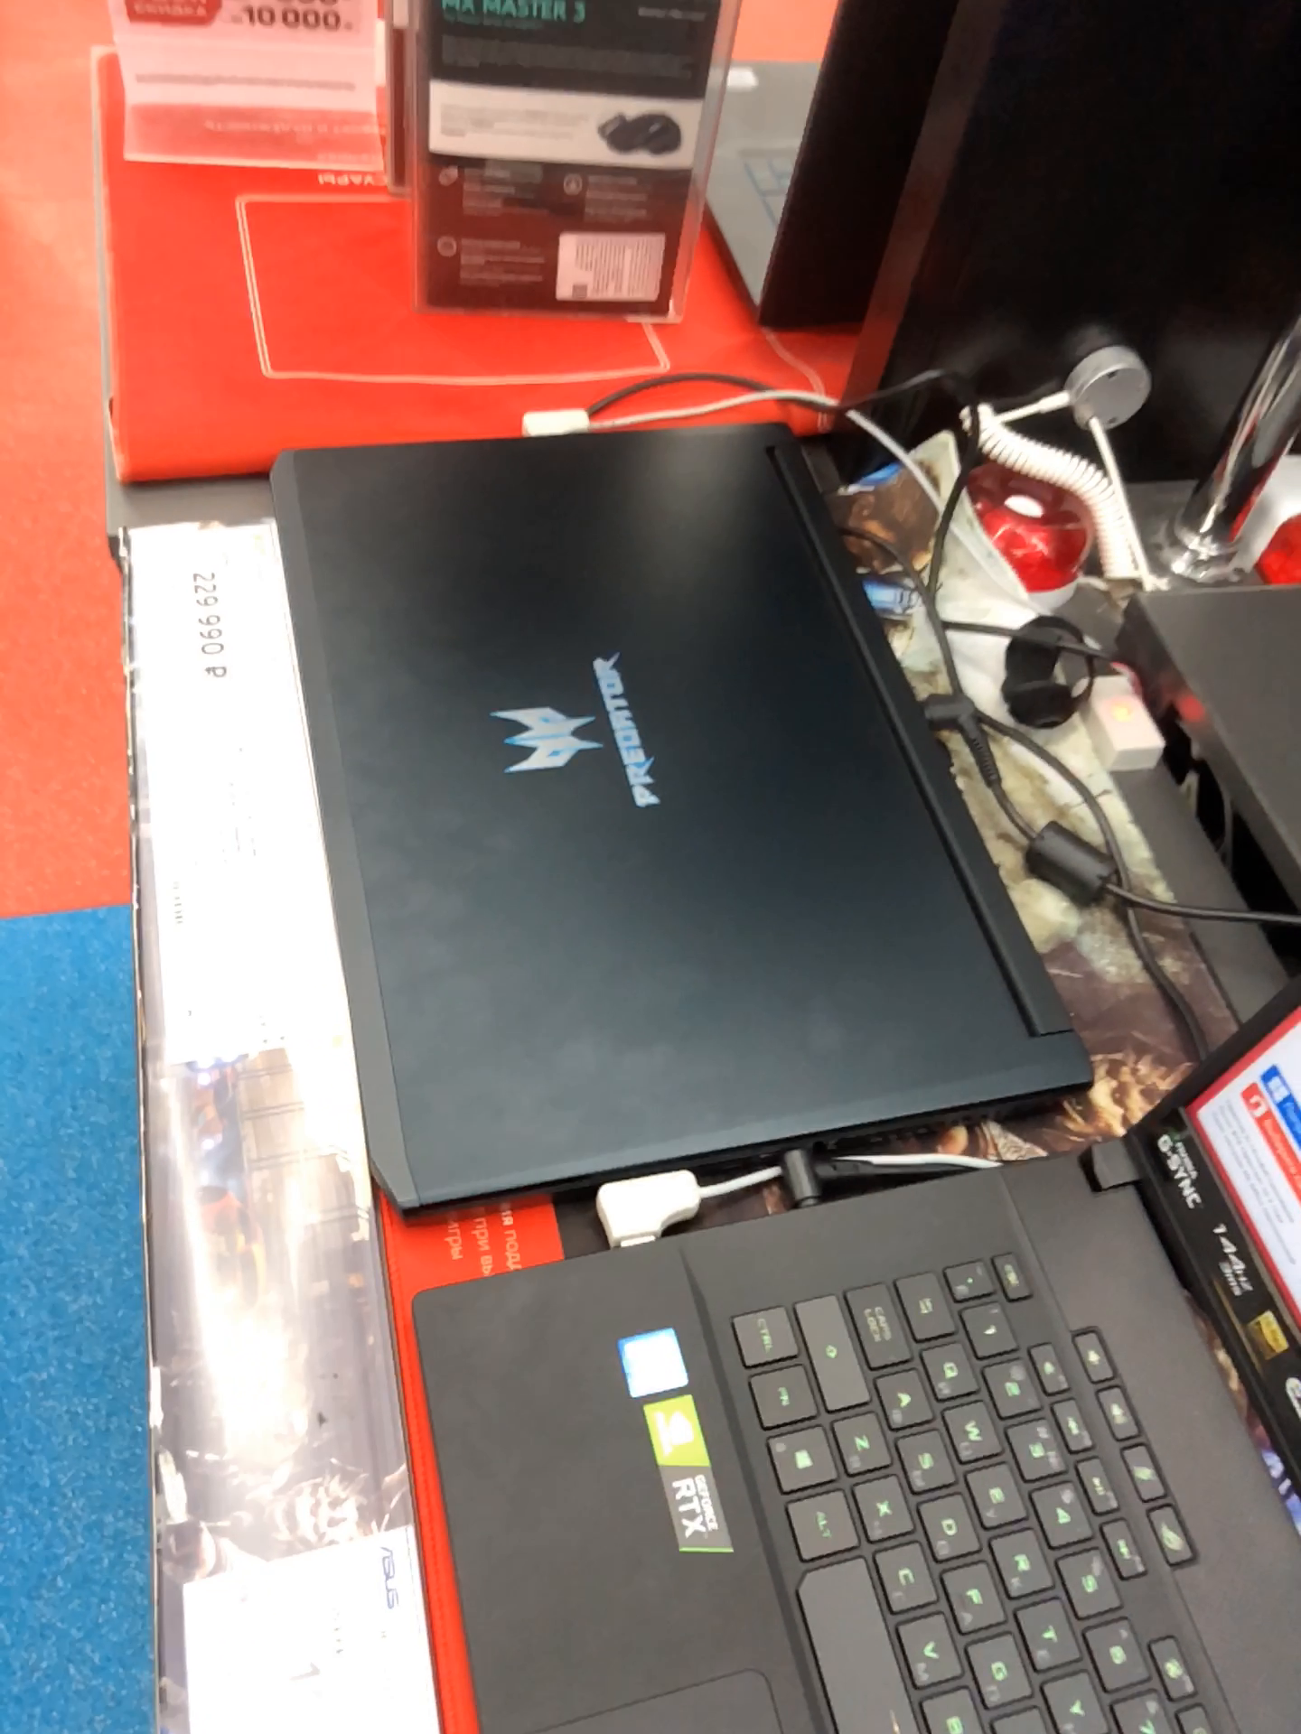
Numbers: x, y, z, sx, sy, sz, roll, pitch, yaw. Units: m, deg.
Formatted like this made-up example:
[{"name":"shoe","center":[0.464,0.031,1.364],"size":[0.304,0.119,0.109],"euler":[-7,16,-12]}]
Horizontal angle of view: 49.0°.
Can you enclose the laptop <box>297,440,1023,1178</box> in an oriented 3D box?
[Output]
[{"name":"laptop","center":[-0.015,-0.055,0.592],"size":[0.221,0.006,0.355],"euler":[-8,56,-14]}]
